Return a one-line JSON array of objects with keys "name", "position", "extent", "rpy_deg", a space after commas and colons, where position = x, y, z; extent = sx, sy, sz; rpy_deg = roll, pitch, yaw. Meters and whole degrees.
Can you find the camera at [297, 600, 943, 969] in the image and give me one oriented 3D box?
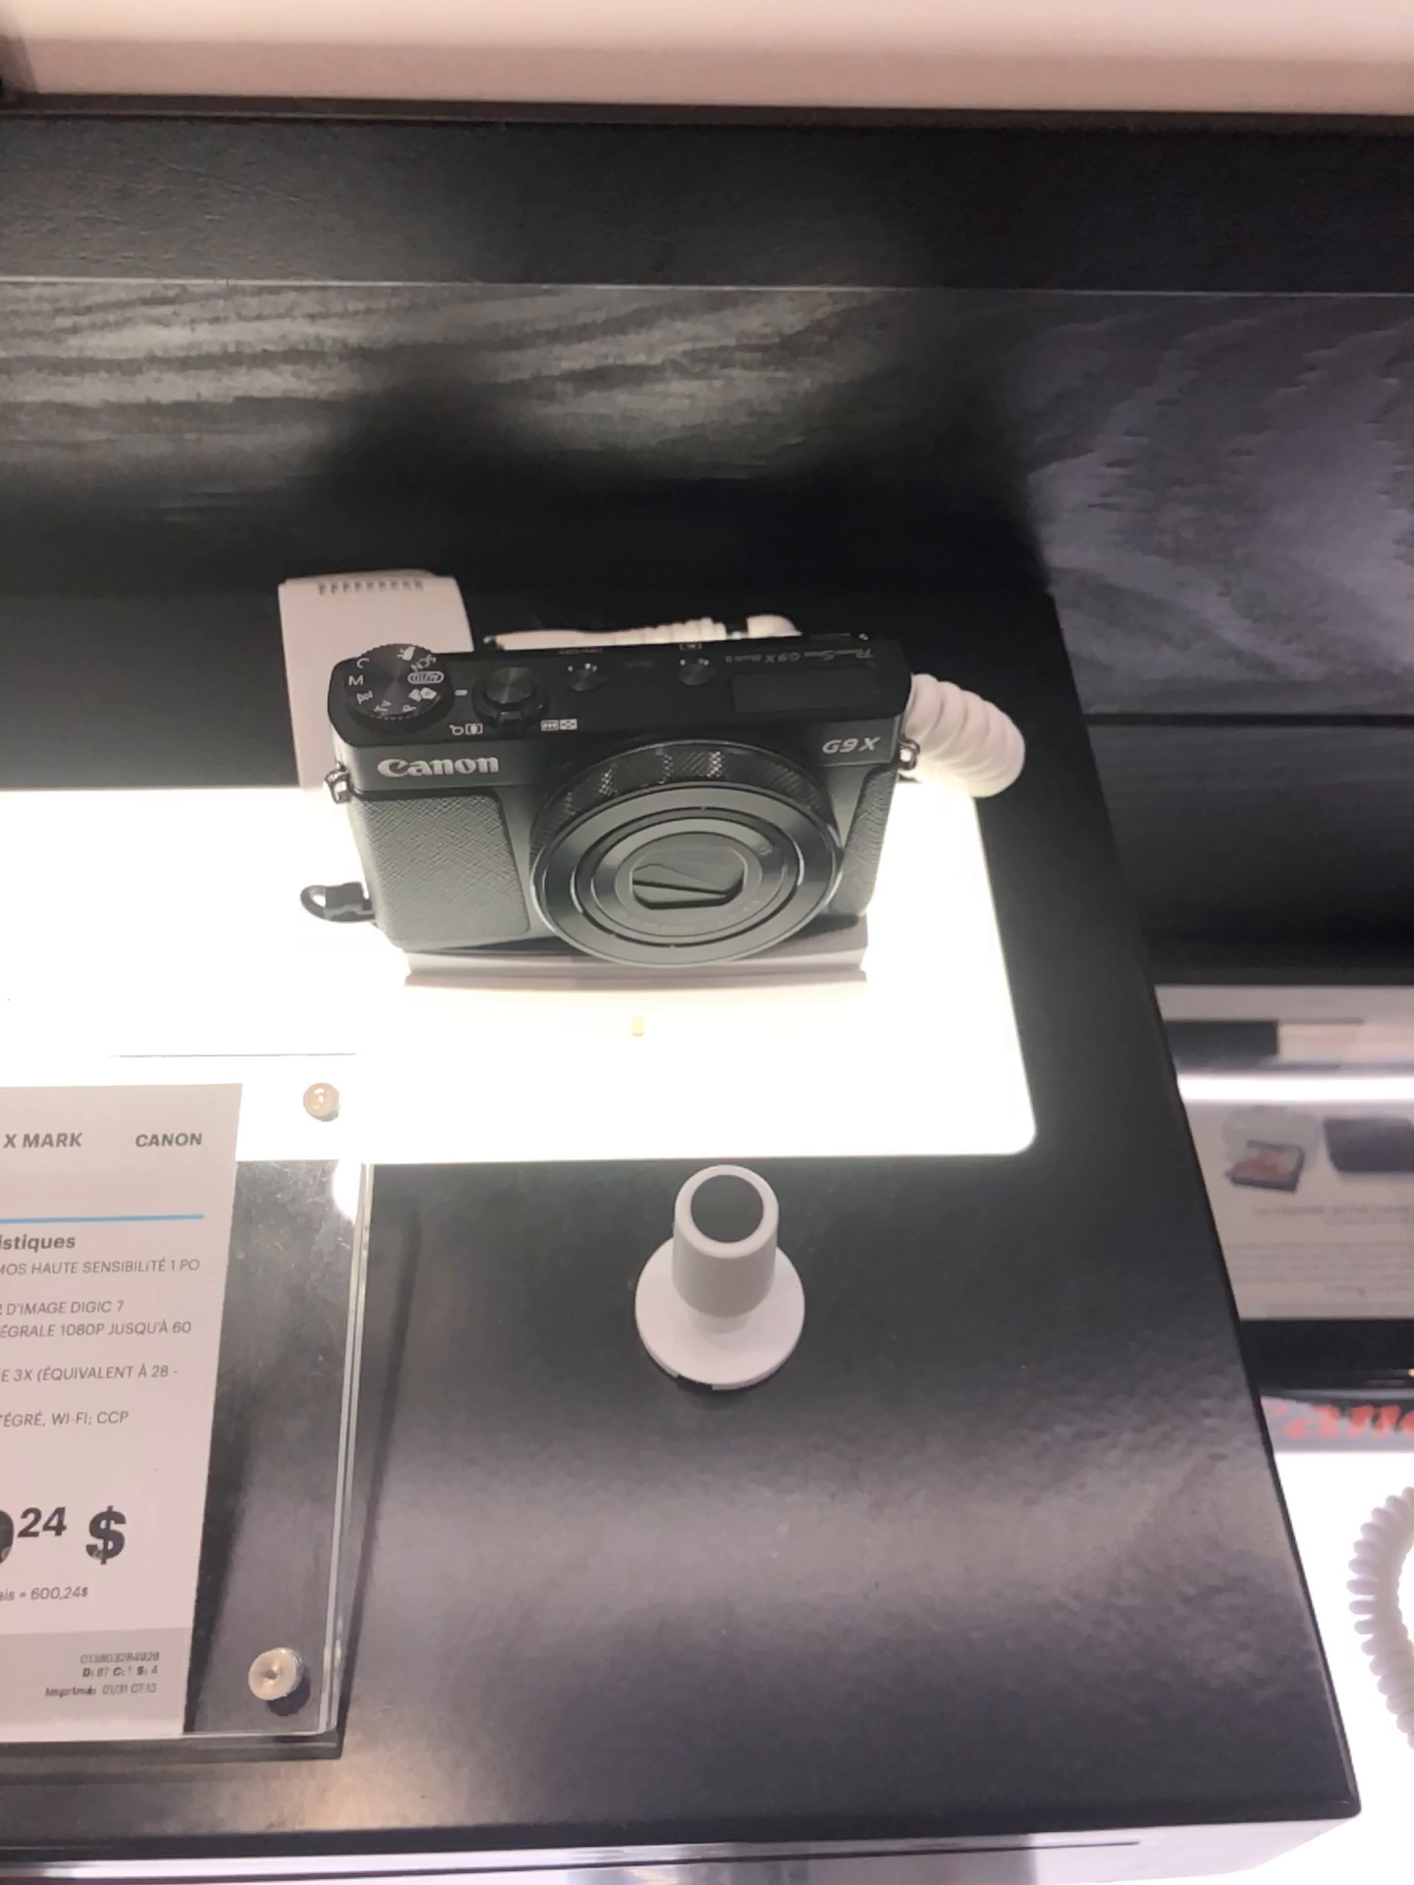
[{"name": "camera", "position": [-0.015, -0.026, 0.274], "extent": [0.100, 0.059, 0.025], "rpy_deg": [-4, 51, -6]}]
